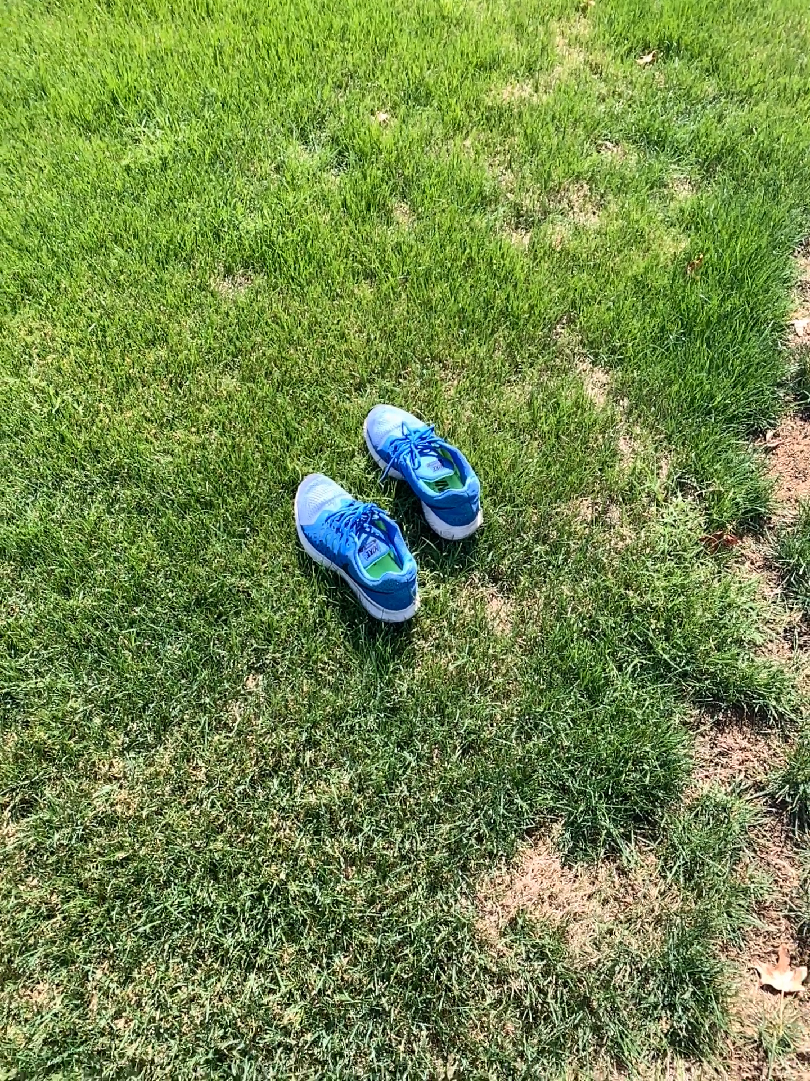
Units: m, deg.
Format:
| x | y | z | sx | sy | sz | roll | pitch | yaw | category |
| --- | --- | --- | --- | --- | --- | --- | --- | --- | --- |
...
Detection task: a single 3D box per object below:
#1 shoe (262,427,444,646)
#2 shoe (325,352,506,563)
| x | y | z | sx | sy | sz | roll | pitch | yaw | category |
| --- | --- | --- | --- | --- | --- | --- | --- | --- | --- |
| -0.078 | -0.009 | 1.225 | 0.120 | 0.120 | 0.291 | -31 | 63 | -16 | shoe |
| 0.012 | -0.134 | 1.307 | 0.130 | 0.140 | 0.291 | -31 | 63 | -16 | shoe |
